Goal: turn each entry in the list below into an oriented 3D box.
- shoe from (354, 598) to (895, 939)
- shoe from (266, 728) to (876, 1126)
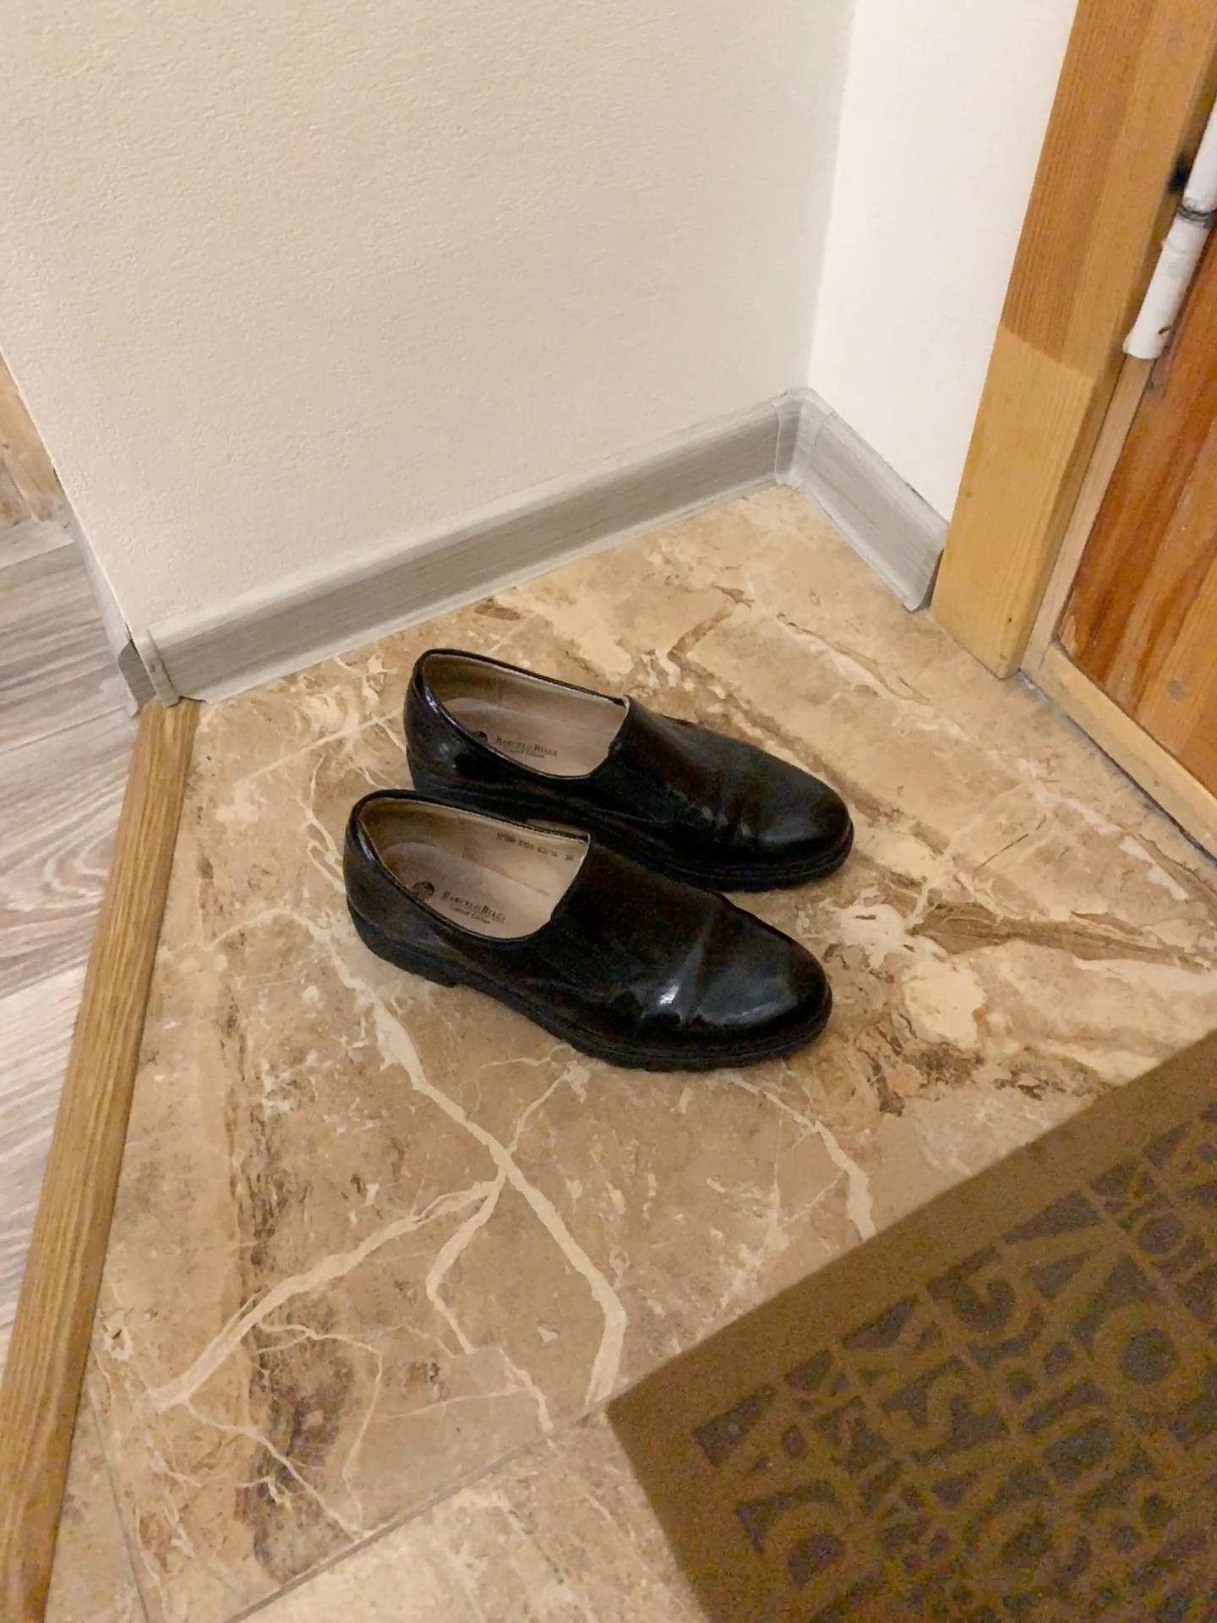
[{"bbox_3d":[0.010,-0.025,0.674,0.260,0.100,0.090,12,54,11],"label":"shoe"},{"bbox_3d":[-0.016,0.054,0.602,0.260,0.100,0.090,14,55,12],"label":"shoe"}]
